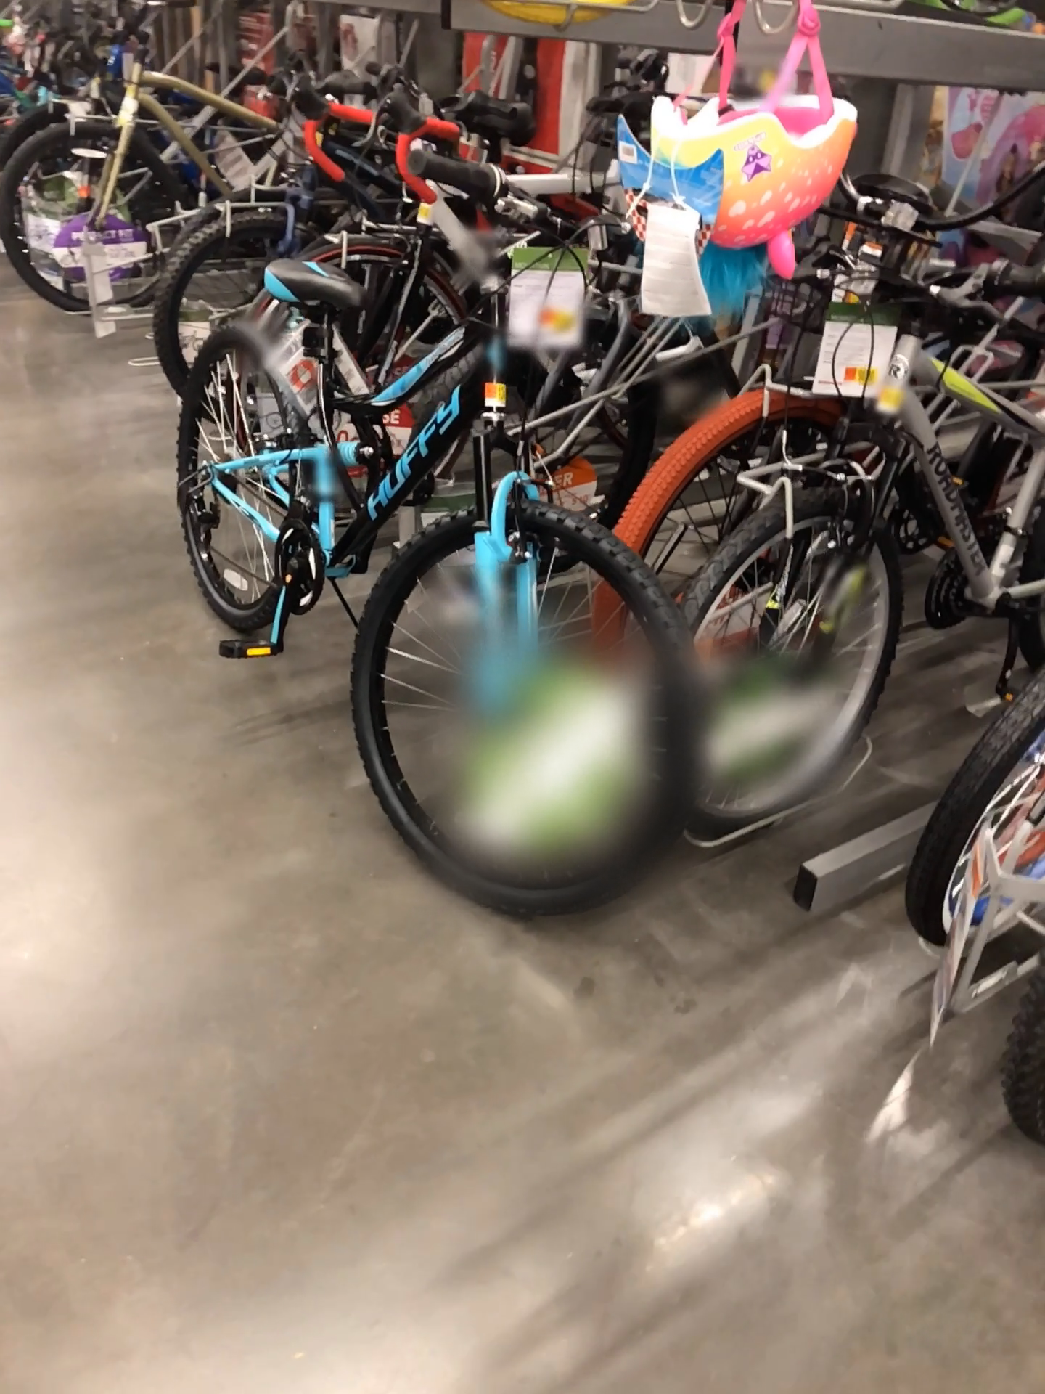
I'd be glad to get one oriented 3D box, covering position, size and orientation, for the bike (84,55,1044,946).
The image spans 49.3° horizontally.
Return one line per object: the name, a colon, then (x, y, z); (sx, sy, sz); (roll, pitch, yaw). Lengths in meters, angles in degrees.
bike: (-0.115, -0.511, 2.134); (0.544, 1.121, 1.712); (-21, 39, -33)
